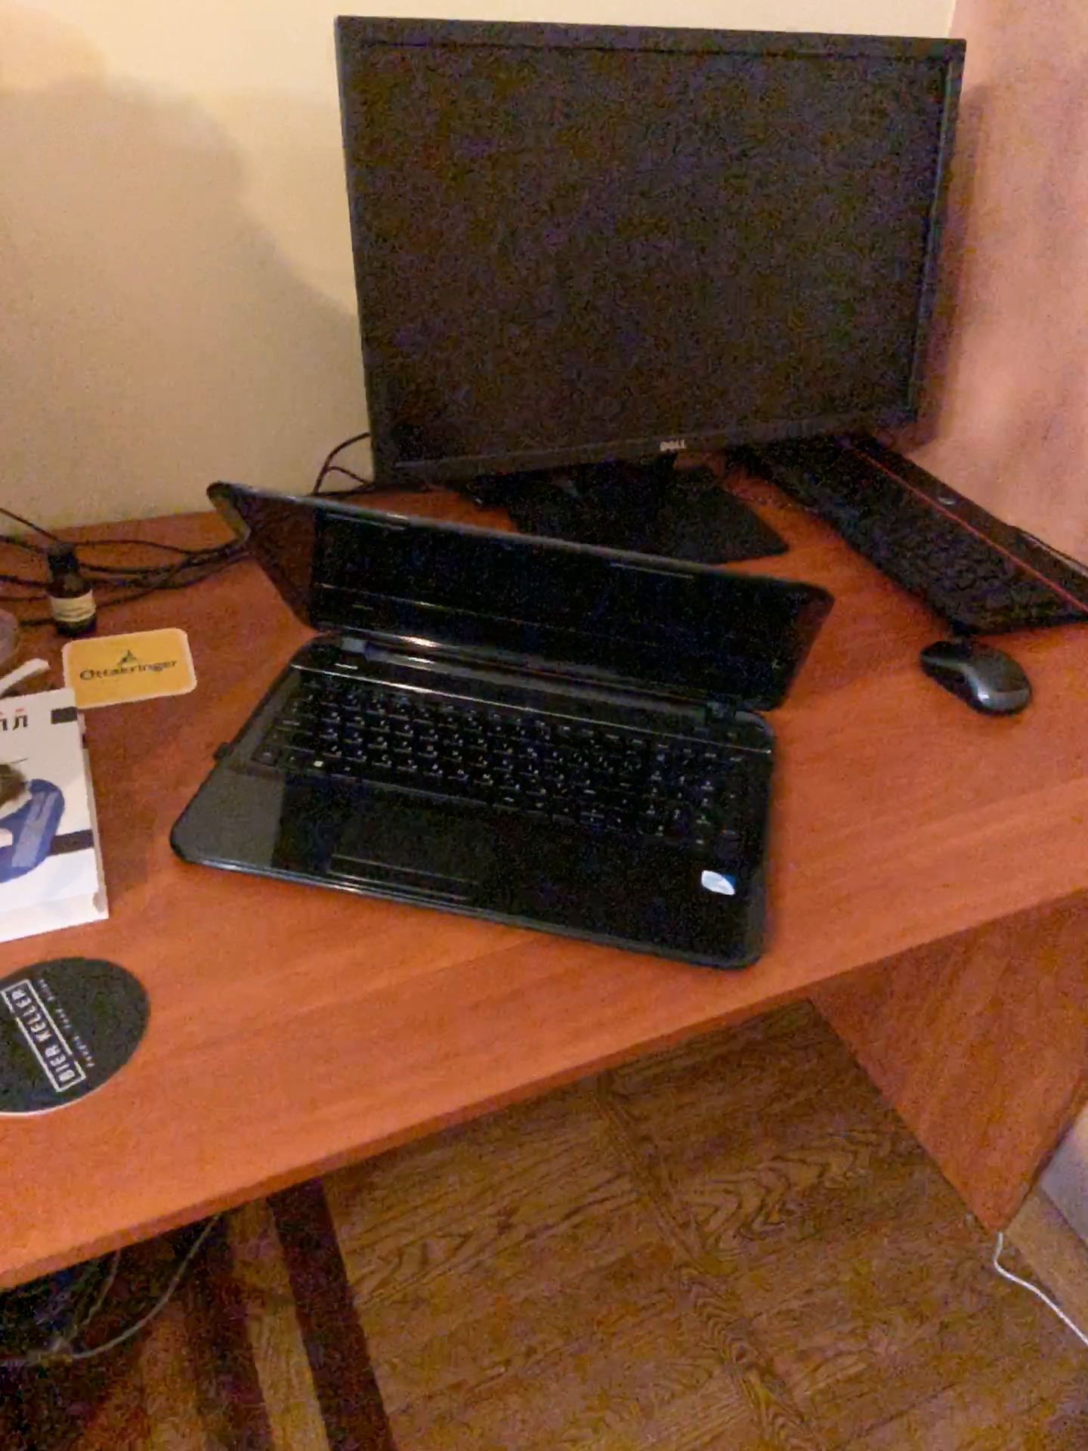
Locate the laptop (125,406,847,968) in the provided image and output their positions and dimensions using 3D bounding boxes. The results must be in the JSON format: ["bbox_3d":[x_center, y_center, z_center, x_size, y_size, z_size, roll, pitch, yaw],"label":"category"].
[{"bbox_3d":[-0.019,-0.040,0.701,0.369,0.194,0.245,10,38,7],"label":"laptop"}]
